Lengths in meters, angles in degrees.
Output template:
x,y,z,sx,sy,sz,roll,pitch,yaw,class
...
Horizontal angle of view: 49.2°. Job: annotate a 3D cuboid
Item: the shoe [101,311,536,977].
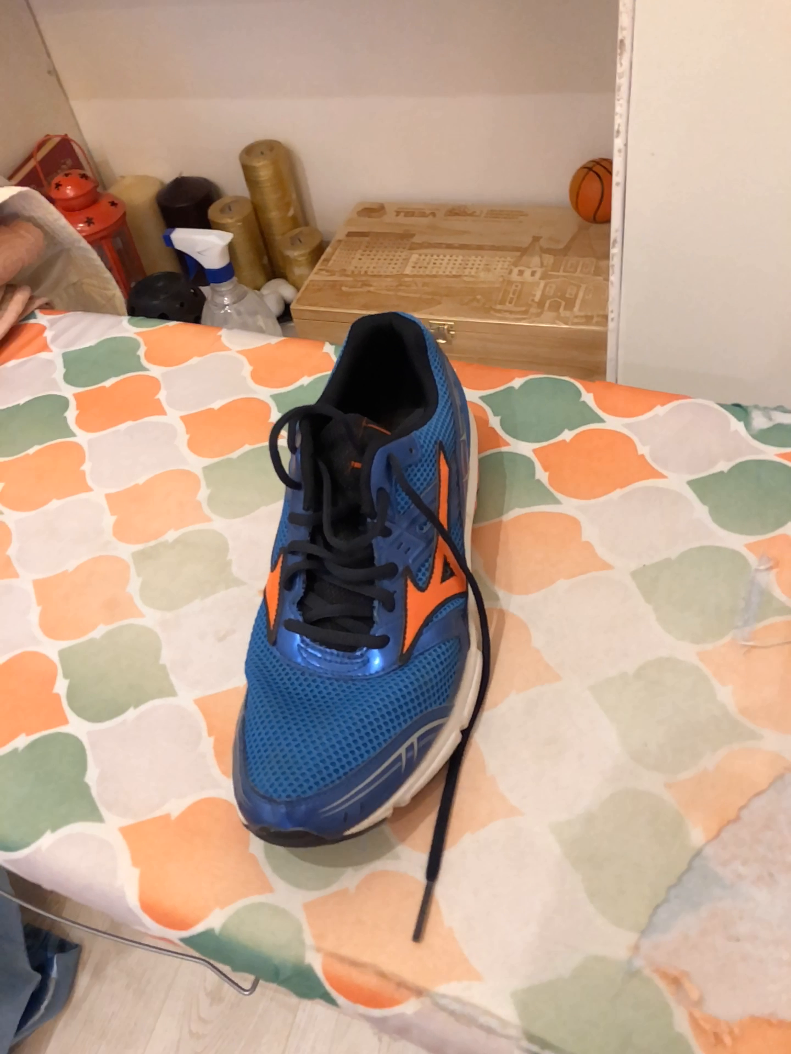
x,y,z,sx,sy,sz,roll,pitch,yaw,class
-0.008,0.032,0.434,0.120,0.109,0.312,4,51,14,shoe
